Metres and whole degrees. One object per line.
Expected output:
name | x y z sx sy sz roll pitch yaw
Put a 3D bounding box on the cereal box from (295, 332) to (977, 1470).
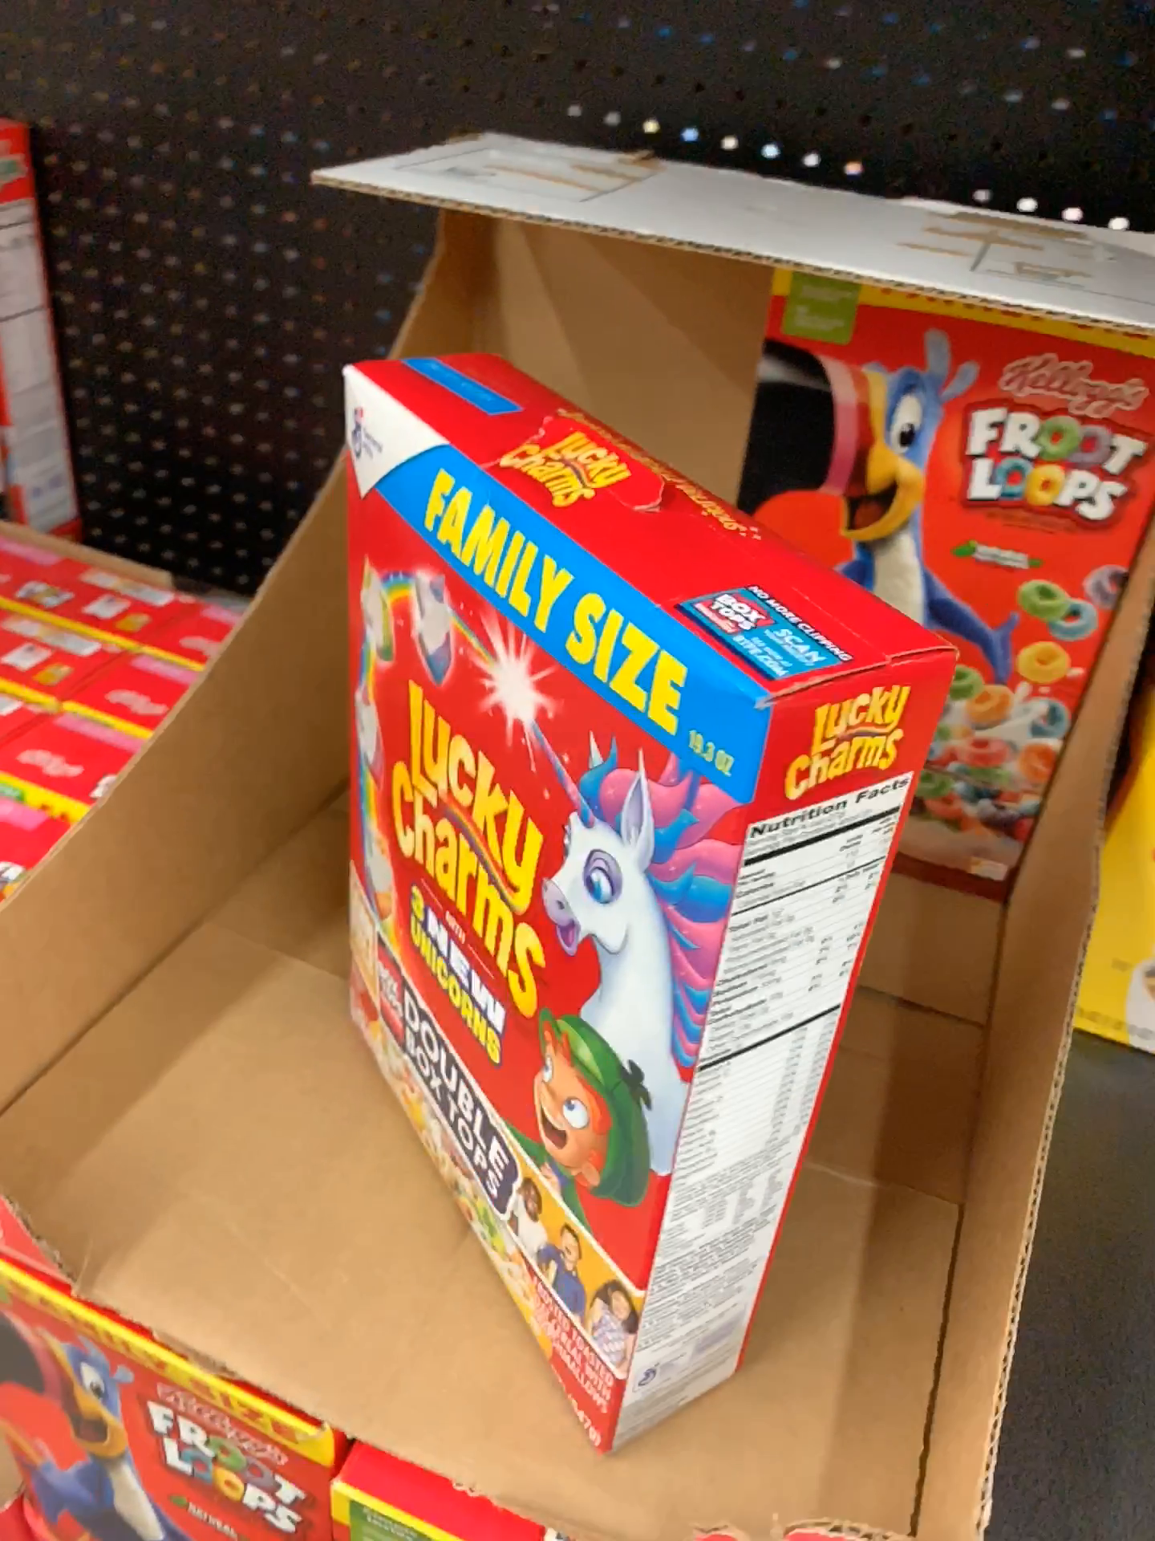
cereal box | -0.017 0.037 0.393 0.060 0.289 0.231 -15 40 -29
